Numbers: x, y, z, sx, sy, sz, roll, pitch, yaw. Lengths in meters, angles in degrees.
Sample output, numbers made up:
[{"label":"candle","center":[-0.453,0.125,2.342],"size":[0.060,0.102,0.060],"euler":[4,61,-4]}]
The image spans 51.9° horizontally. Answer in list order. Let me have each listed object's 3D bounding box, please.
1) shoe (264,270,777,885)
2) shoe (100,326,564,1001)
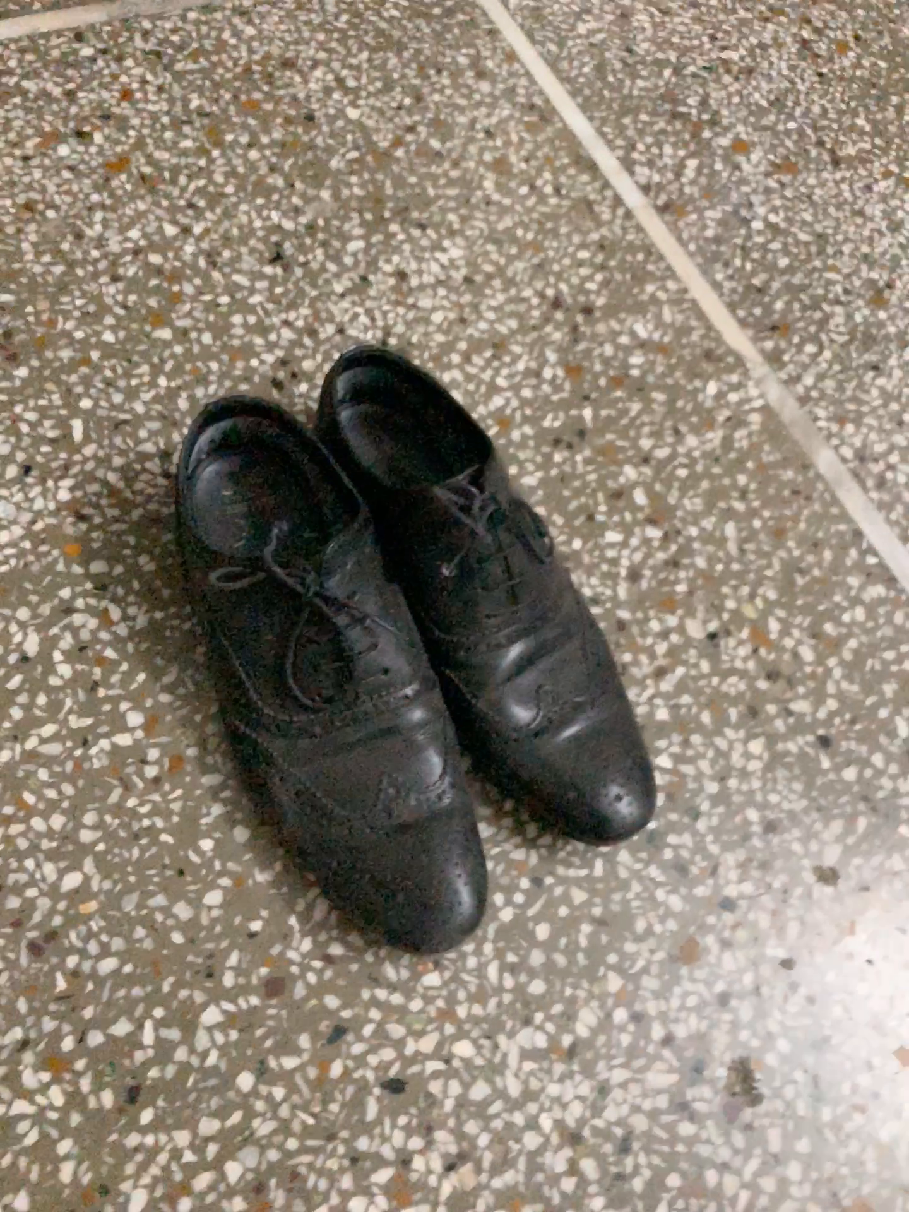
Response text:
[{"label":"shoe","center":[0.019,-0.020,0.517],"size":[0.100,0.100,0.320],"euler":[-29,75,-19]},{"label":"shoe","center":[-0.073,0.024,0.483],"size":[0.100,0.100,0.320],"euler":[-21,72,-17]}]
